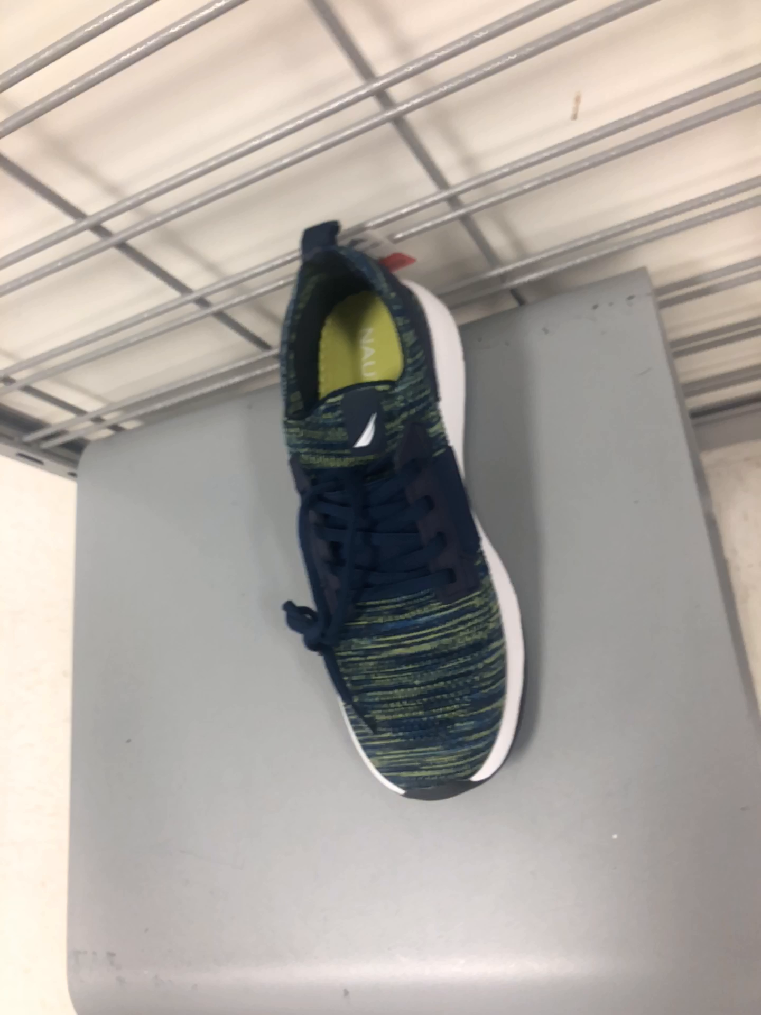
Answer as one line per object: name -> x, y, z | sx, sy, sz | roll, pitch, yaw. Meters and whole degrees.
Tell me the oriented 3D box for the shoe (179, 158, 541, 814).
shoe -> -0.014, -0.005, 0.415 | 0.113, 0.105, 0.276 | -15, 70, 21
